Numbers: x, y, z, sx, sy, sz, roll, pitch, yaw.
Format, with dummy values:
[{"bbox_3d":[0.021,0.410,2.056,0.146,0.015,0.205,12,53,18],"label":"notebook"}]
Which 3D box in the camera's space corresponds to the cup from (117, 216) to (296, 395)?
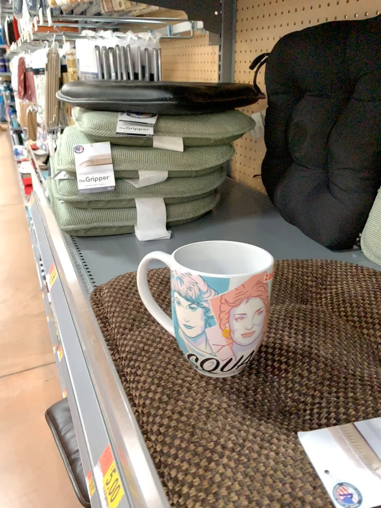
[{"bbox_3d":[0.013,0.037,0.361,0.128,0.100,0.090,17,28,32],"label":"cup"}]
